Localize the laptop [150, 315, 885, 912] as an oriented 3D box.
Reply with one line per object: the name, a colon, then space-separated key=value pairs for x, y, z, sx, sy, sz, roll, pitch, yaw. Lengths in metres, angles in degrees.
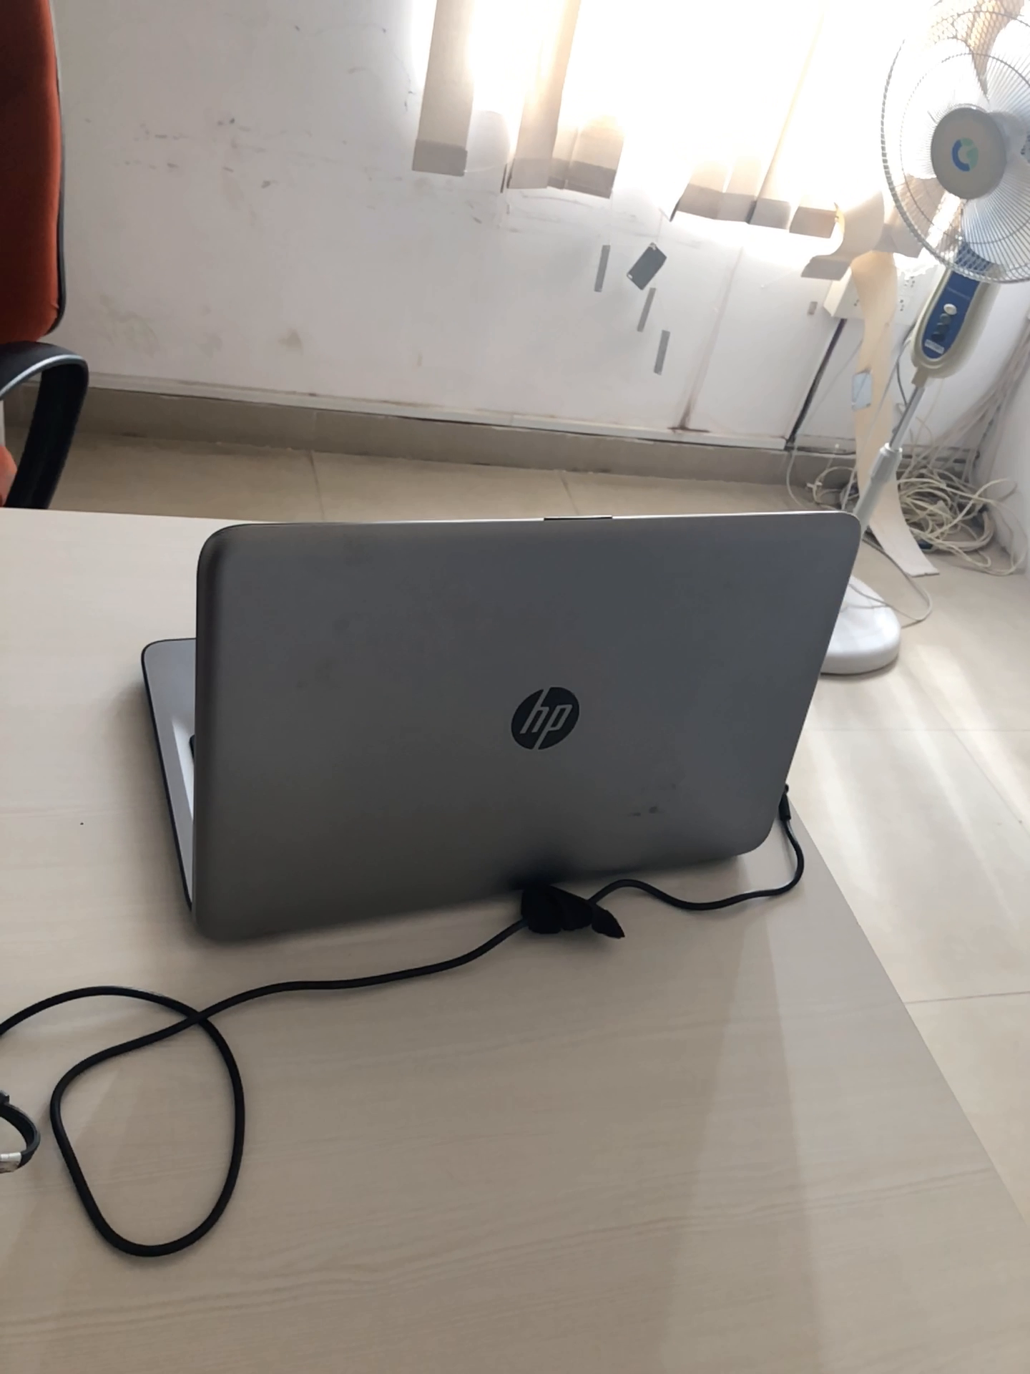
laptop: x=-0.022 y=-0.054 z=0.685 sx=0.351 sy=0.226 sz=0.217 roll=-5 pitch=45 yaw=-22
